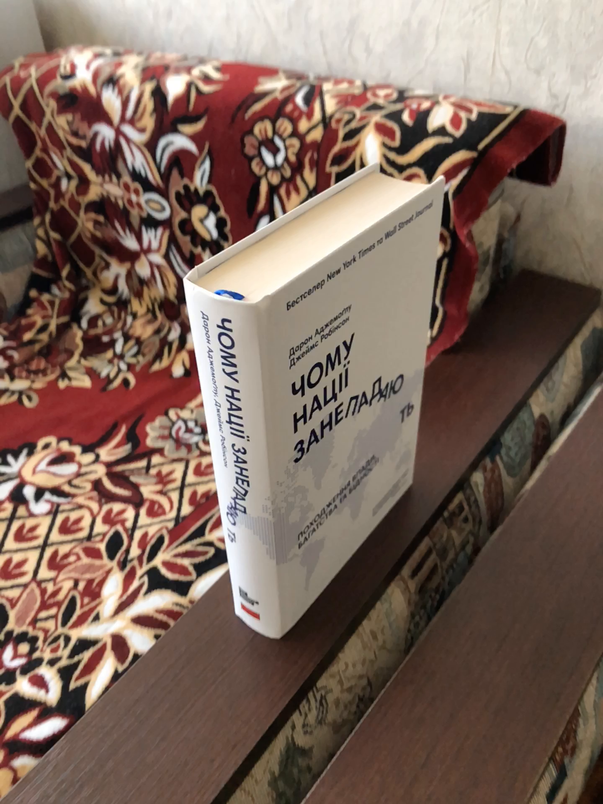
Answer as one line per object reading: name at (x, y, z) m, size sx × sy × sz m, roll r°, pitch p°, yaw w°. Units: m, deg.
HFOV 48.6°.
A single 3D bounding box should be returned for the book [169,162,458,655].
book at (0.016, 0.007, 0.350) m, size 0.042 × 0.212 × 0.151 m, roll 24°, pitch 46°, yaw 29°
